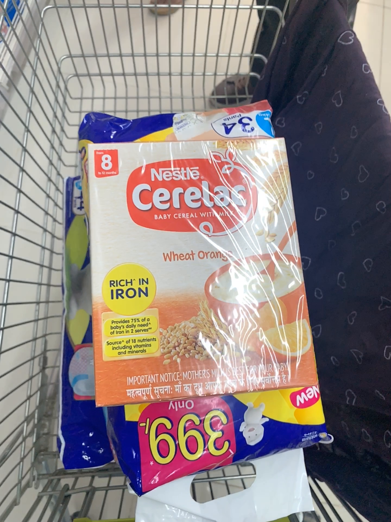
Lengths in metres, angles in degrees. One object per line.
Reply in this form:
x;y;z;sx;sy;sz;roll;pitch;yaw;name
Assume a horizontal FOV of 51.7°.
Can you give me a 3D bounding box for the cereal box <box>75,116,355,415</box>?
0.007;-0.001;0.291;0.170;0.050;0.190;-4;79;-4;cereal box
